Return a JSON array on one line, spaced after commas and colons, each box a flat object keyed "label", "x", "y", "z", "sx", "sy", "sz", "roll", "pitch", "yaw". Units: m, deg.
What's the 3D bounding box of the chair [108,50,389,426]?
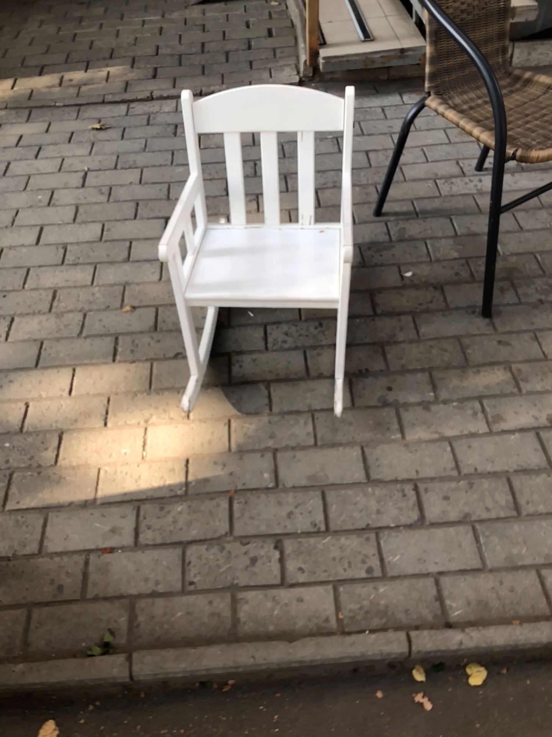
[{"label": "chair", "x": -0.014, "y": -0.315, "z": 1.368, "sx": 0.440, "sy": 0.458, "sz": 0.753, "roll": 0, "pitch": 48, "yaw": 4}]
